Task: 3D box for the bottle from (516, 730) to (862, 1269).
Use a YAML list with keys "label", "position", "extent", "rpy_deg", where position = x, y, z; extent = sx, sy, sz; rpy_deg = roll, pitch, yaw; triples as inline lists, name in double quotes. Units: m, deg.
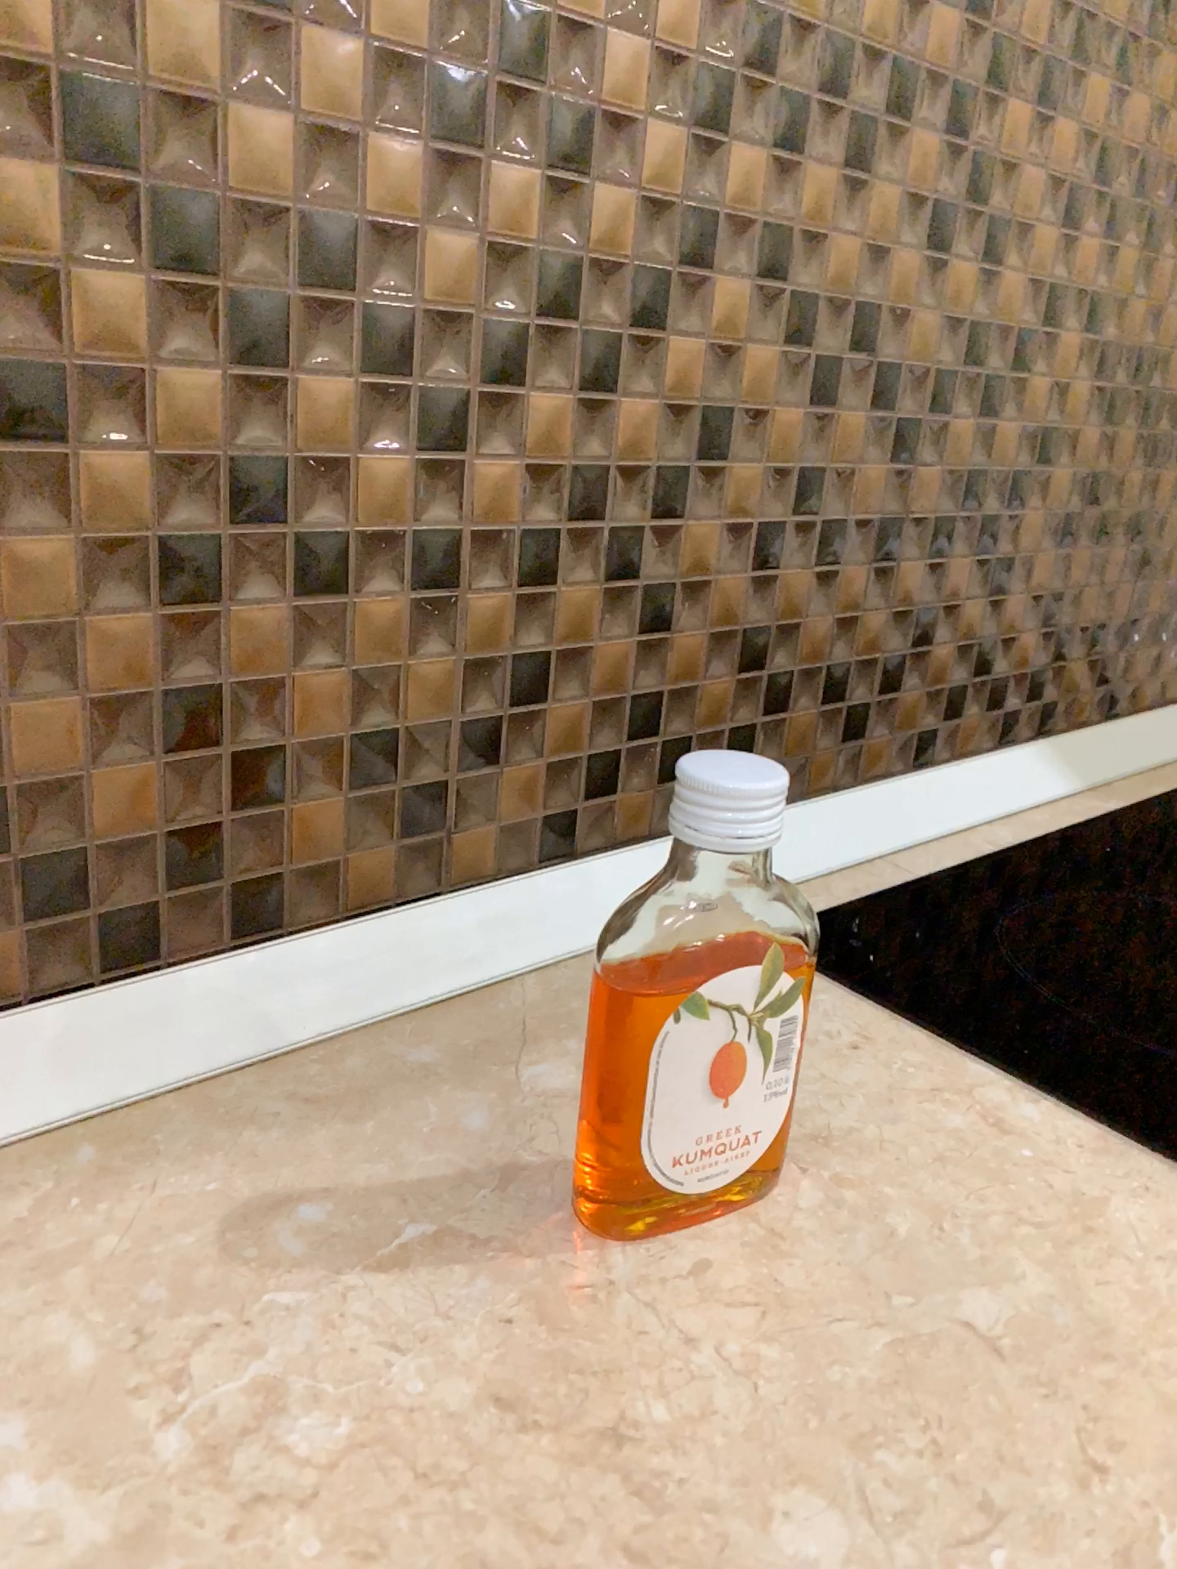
- label: "bottle"
  position: [0.025, 0.057, 0.337]
  extent: [0.070, 0.133, 0.040]
  rpy_deg: [-5, 21, -29]
